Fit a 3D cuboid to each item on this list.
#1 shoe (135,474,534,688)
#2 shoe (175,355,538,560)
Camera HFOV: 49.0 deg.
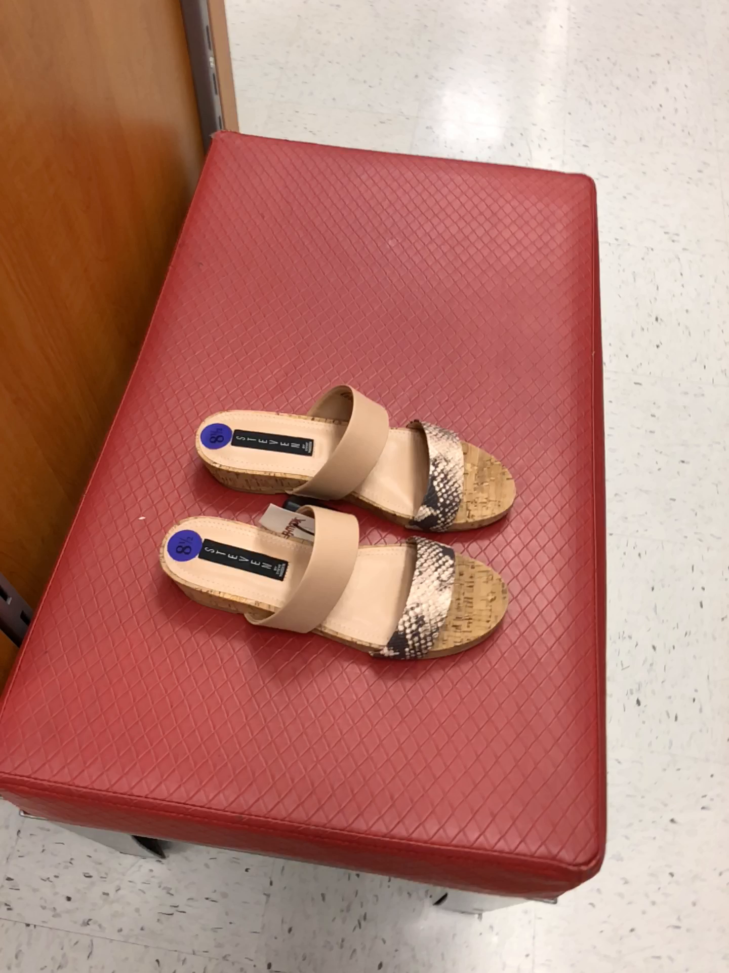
[{"bbox_3d":[-0.016,0.069,0.574,0.257,0.085,0.095,7,59,3],"label":"shoe"},{"bbox_3d":[-0.003,-0.022,0.627,0.257,0.085,0.096,8,59,3],"label":"shoe"}]
